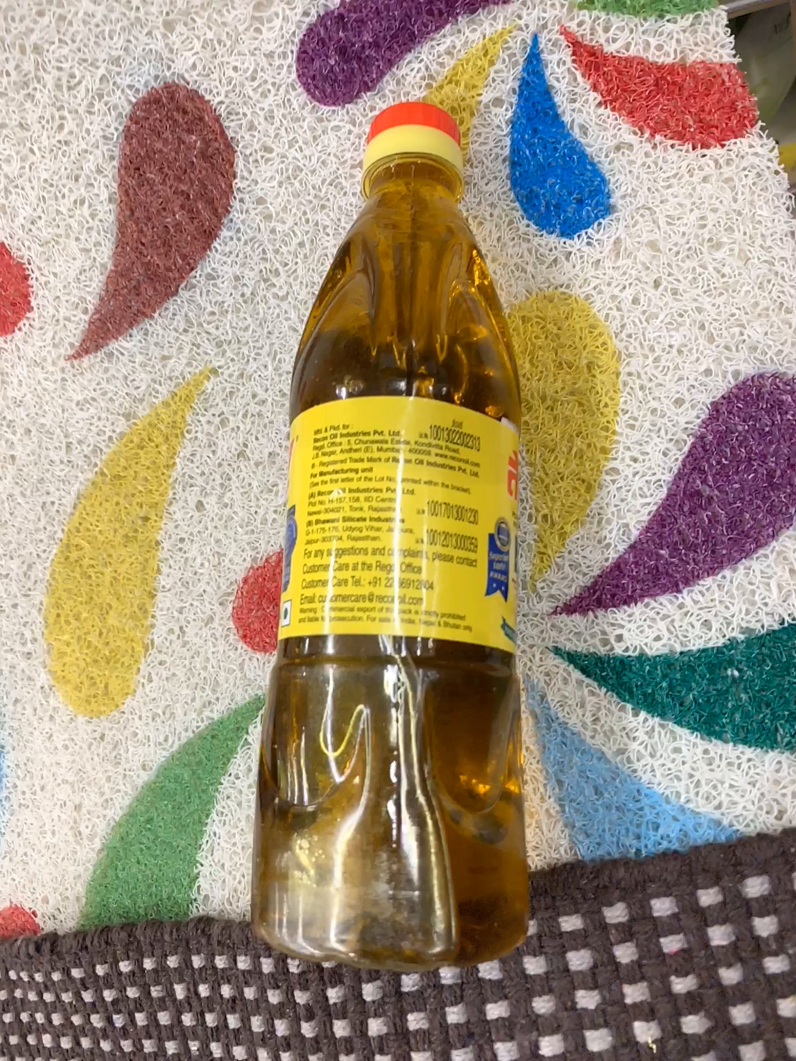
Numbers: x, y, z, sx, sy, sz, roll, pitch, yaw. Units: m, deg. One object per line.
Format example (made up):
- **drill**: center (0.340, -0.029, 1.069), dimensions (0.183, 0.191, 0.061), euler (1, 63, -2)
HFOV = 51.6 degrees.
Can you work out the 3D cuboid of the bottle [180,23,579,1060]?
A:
- **bottle**: center (0.004, 0.000, 0.189), dimensions (0.070, 0.060, 0.200), euler (0, 81, 13)
